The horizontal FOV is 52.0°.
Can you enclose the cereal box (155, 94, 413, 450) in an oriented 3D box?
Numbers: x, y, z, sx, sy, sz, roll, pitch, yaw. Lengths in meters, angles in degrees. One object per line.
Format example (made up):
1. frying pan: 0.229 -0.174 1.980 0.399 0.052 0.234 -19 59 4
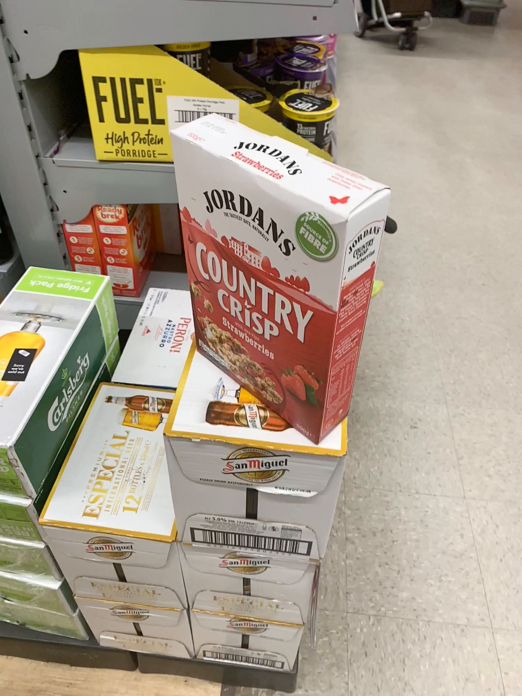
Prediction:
1. cereal box: 0.008 -0.057 0.464 0.191 0.247 0.060 35 55 29
